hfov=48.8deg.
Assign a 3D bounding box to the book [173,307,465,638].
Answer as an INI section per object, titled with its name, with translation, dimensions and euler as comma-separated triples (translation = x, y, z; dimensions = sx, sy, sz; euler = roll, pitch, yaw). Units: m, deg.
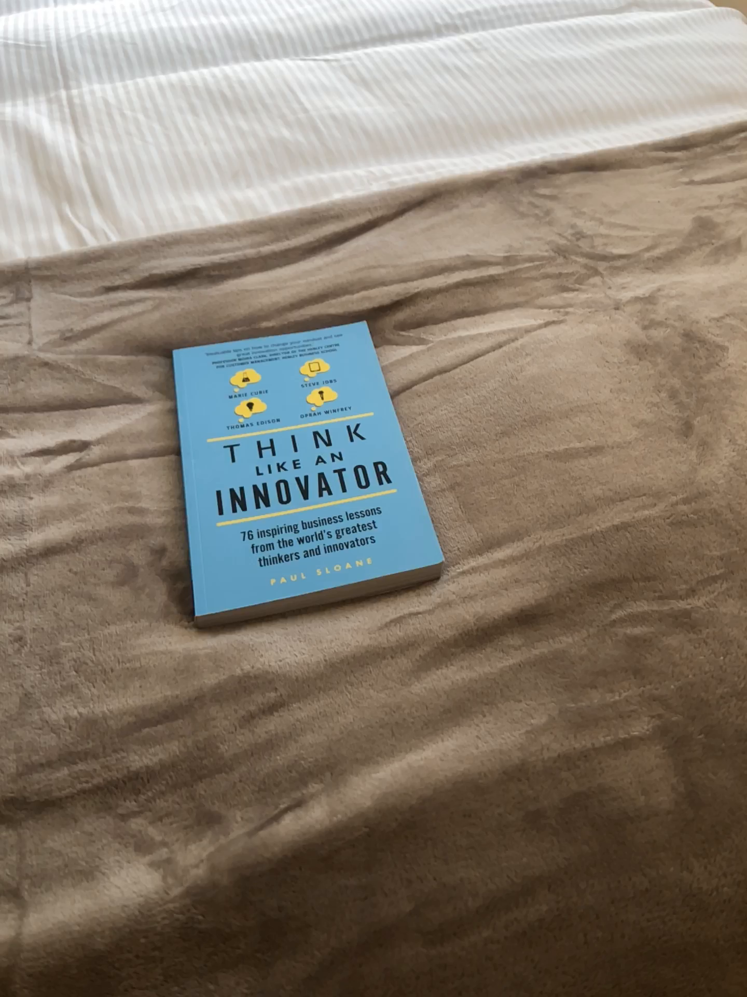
[book]
translation = -0.043, -0.030, 0.499
dimensions = 0.140, 0.020, 0.221
euler = -12, 50, -5
